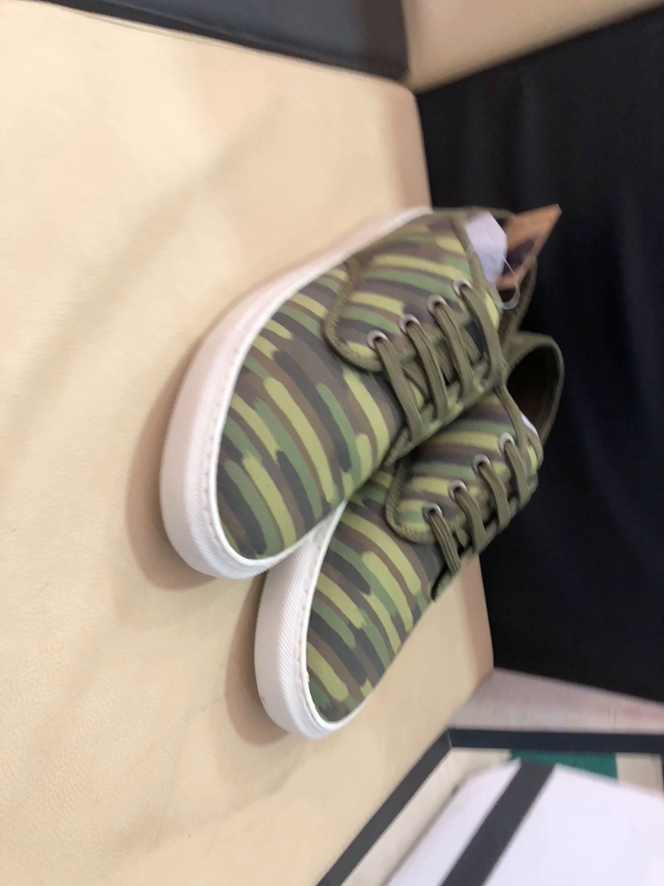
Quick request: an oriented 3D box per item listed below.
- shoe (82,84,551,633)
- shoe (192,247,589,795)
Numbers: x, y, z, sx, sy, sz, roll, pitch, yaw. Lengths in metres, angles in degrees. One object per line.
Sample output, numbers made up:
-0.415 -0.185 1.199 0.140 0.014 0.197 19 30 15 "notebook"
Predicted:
0.021 -0.065 0.392 0.311 0.079 0.100 -57 131 -35 "shoe"
0.059 0.020 0.429 0.311 0.079 0.100 -57 131 -35 "shoe"
